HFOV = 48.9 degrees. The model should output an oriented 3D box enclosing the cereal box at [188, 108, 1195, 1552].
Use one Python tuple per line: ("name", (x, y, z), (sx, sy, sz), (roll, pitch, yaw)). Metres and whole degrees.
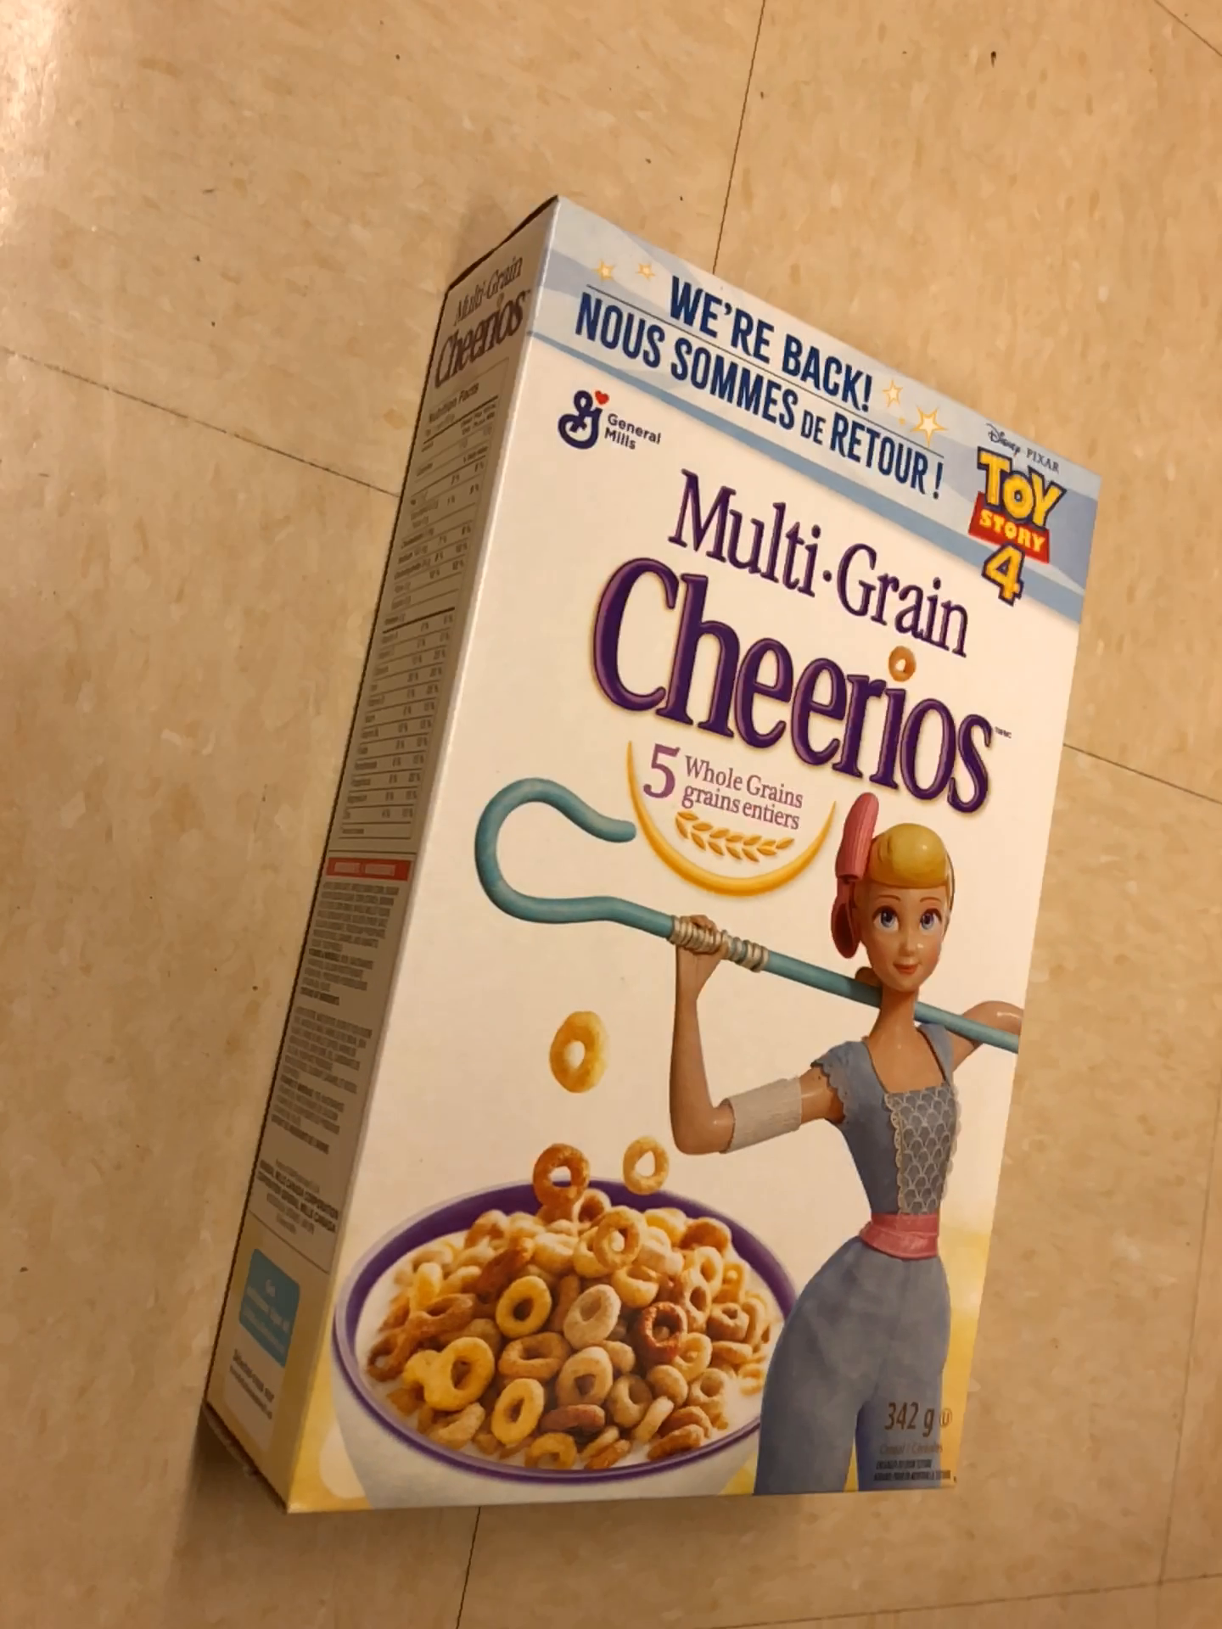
("cereal box", (0.036, 0.016, 0.347), (0.210, 0.070, 0.290), (14, 82, -30))
